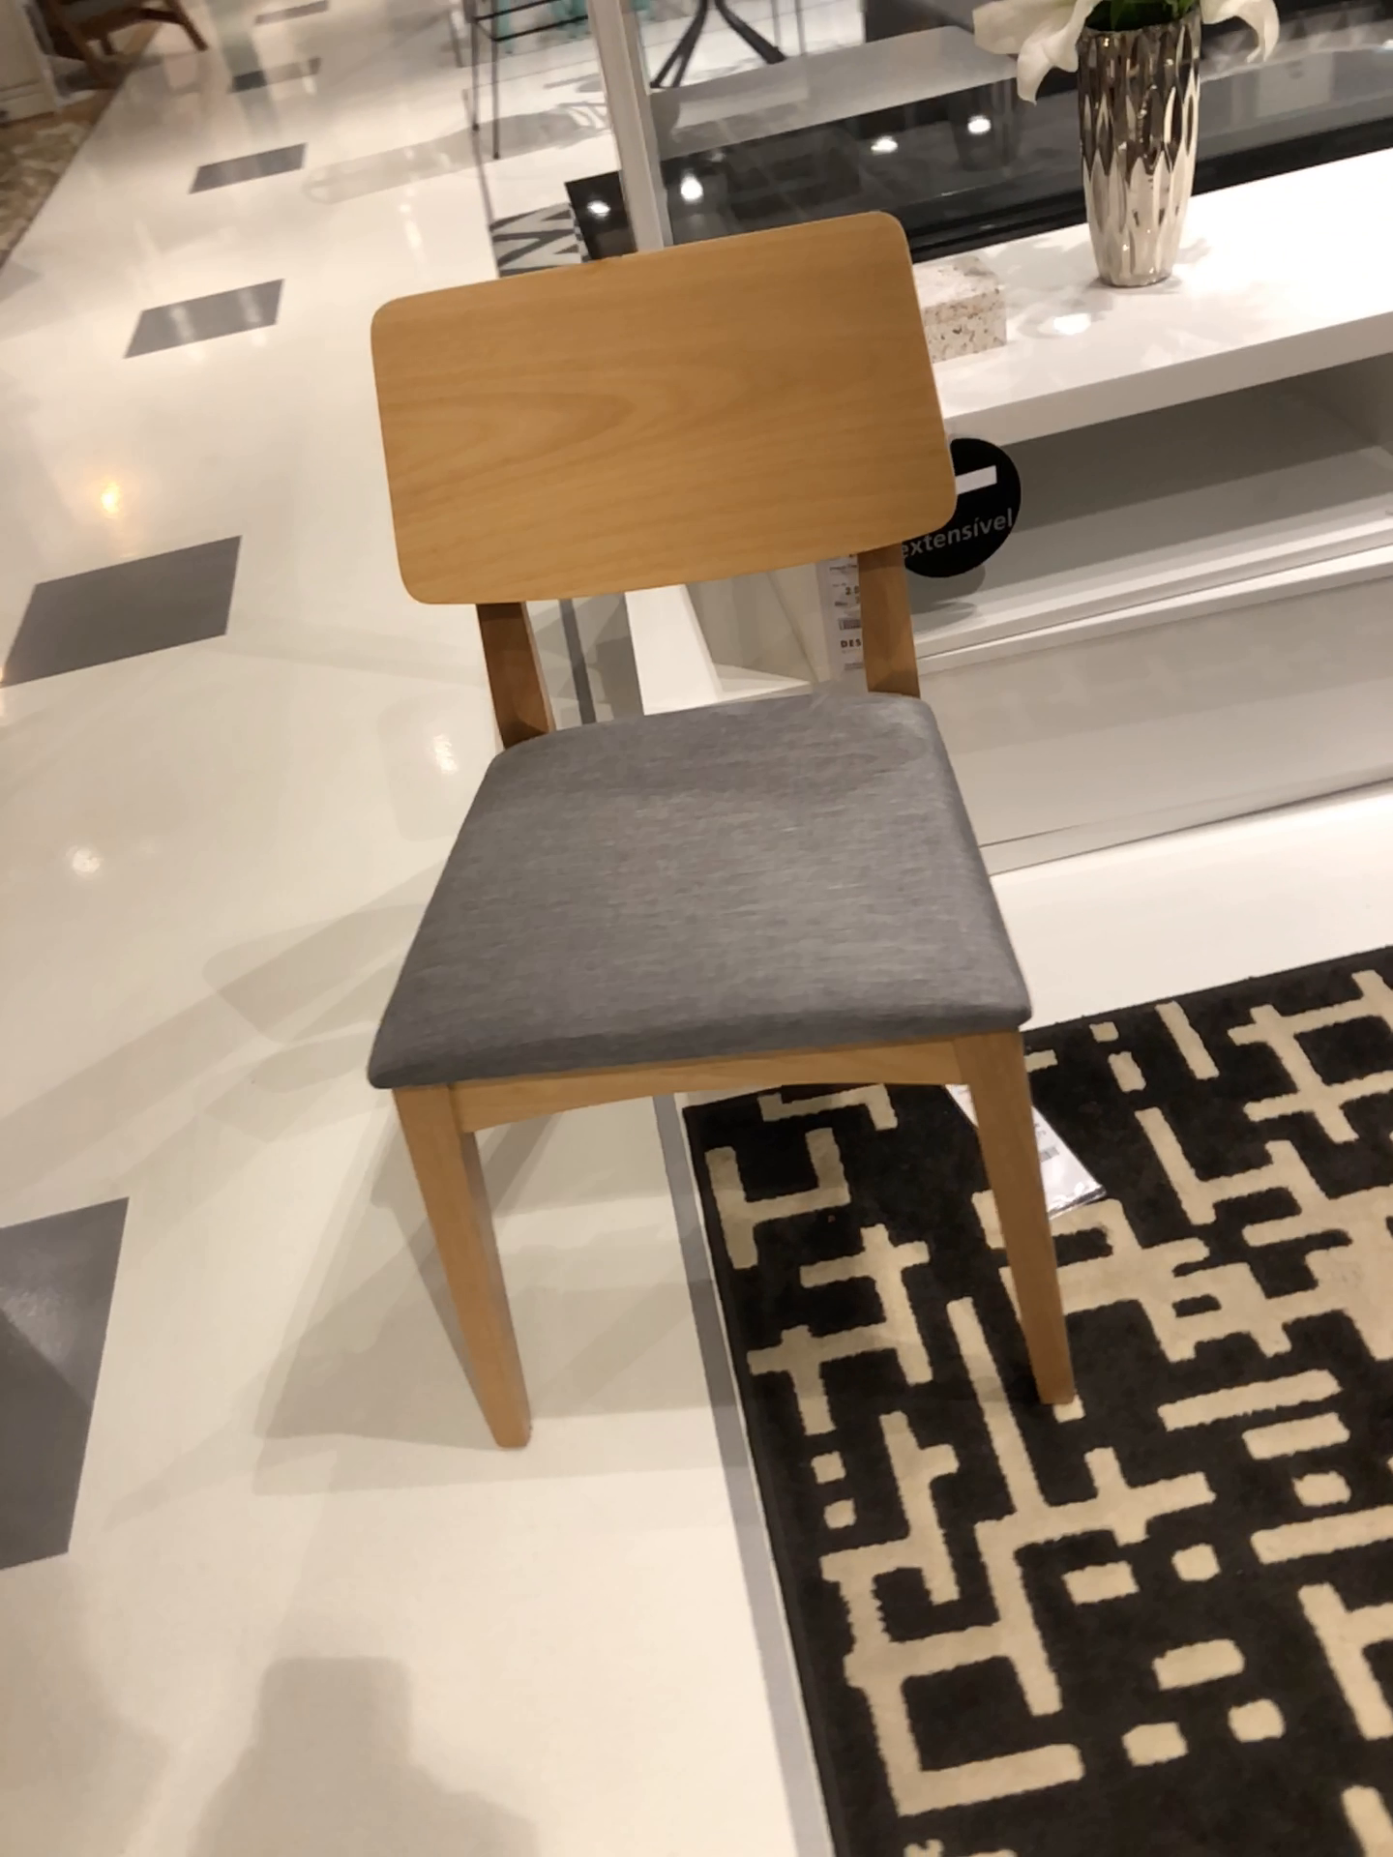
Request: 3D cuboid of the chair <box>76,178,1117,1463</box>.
[{"bbox_3d":[0.013,-0.062,1.248,0.540,0.793,0.585,-7,39,8],"label":"chair"}]
